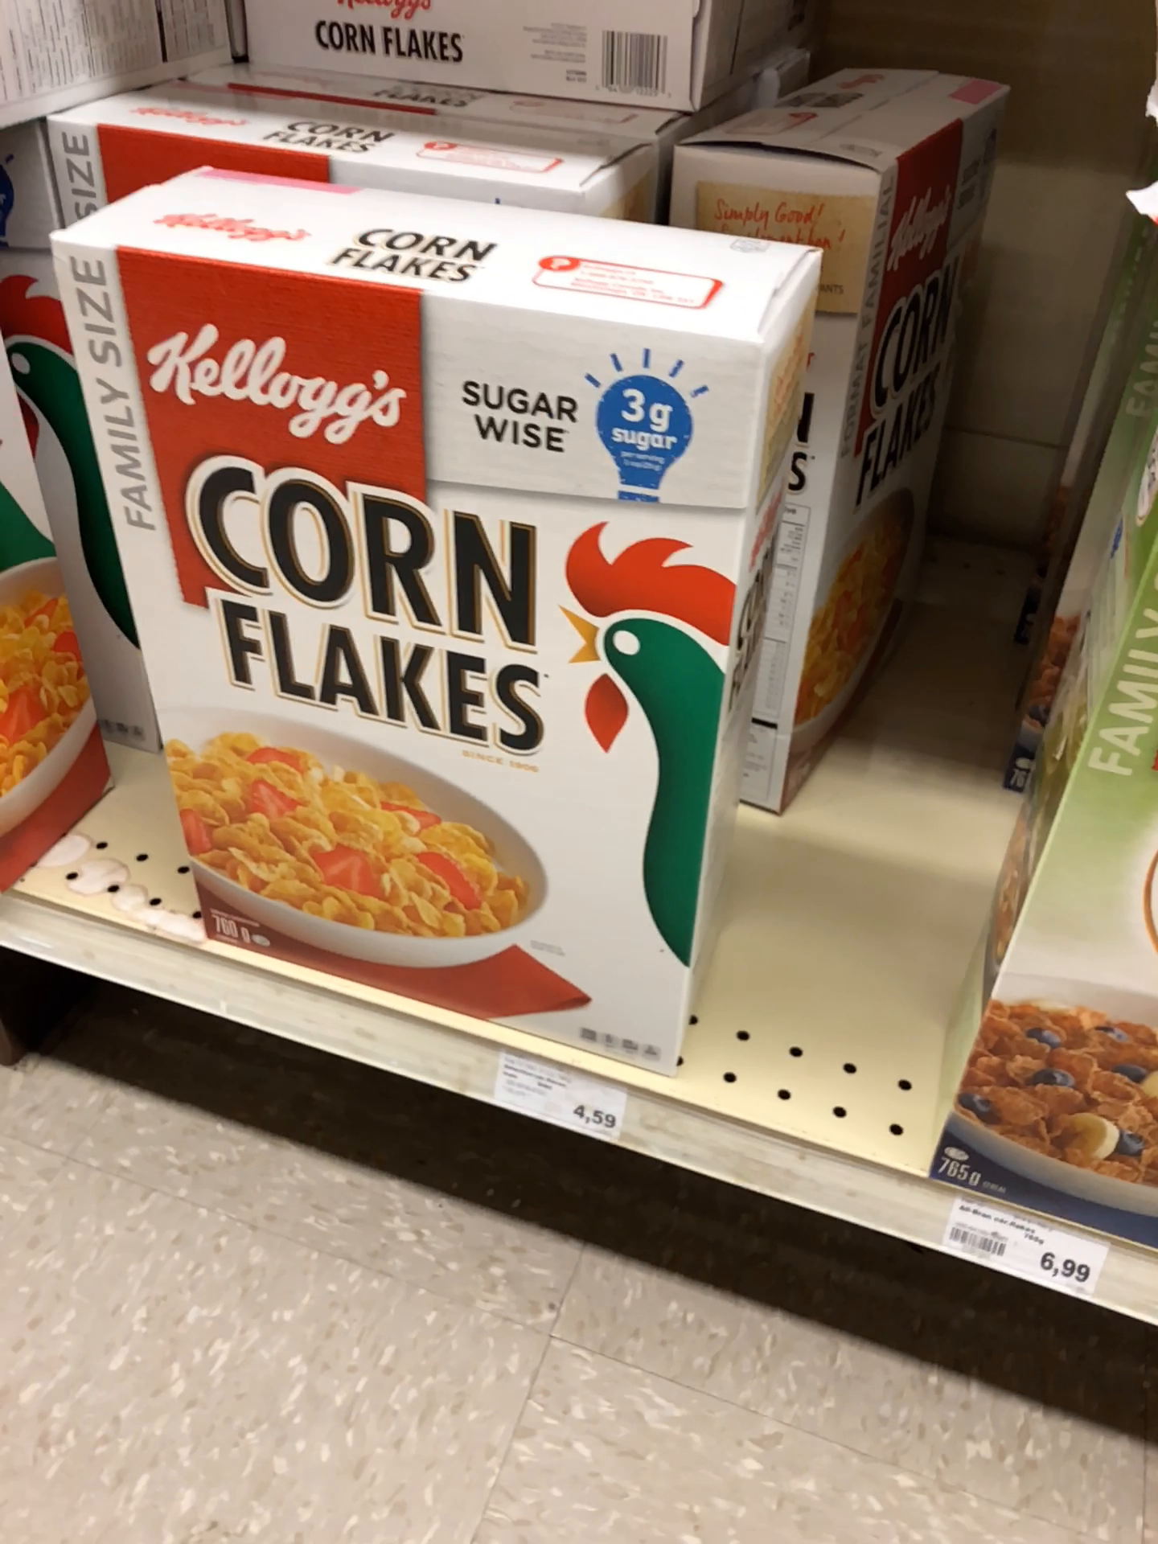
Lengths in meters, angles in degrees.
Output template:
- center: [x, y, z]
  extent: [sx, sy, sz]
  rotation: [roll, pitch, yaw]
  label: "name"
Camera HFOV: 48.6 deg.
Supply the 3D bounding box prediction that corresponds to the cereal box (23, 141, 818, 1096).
- center: [-0.063, -0.051, 0.584]
  extent: [0.270, 0.387, 0.101]
  rotation: [13, 39, 12]
  label: "cereal box"
